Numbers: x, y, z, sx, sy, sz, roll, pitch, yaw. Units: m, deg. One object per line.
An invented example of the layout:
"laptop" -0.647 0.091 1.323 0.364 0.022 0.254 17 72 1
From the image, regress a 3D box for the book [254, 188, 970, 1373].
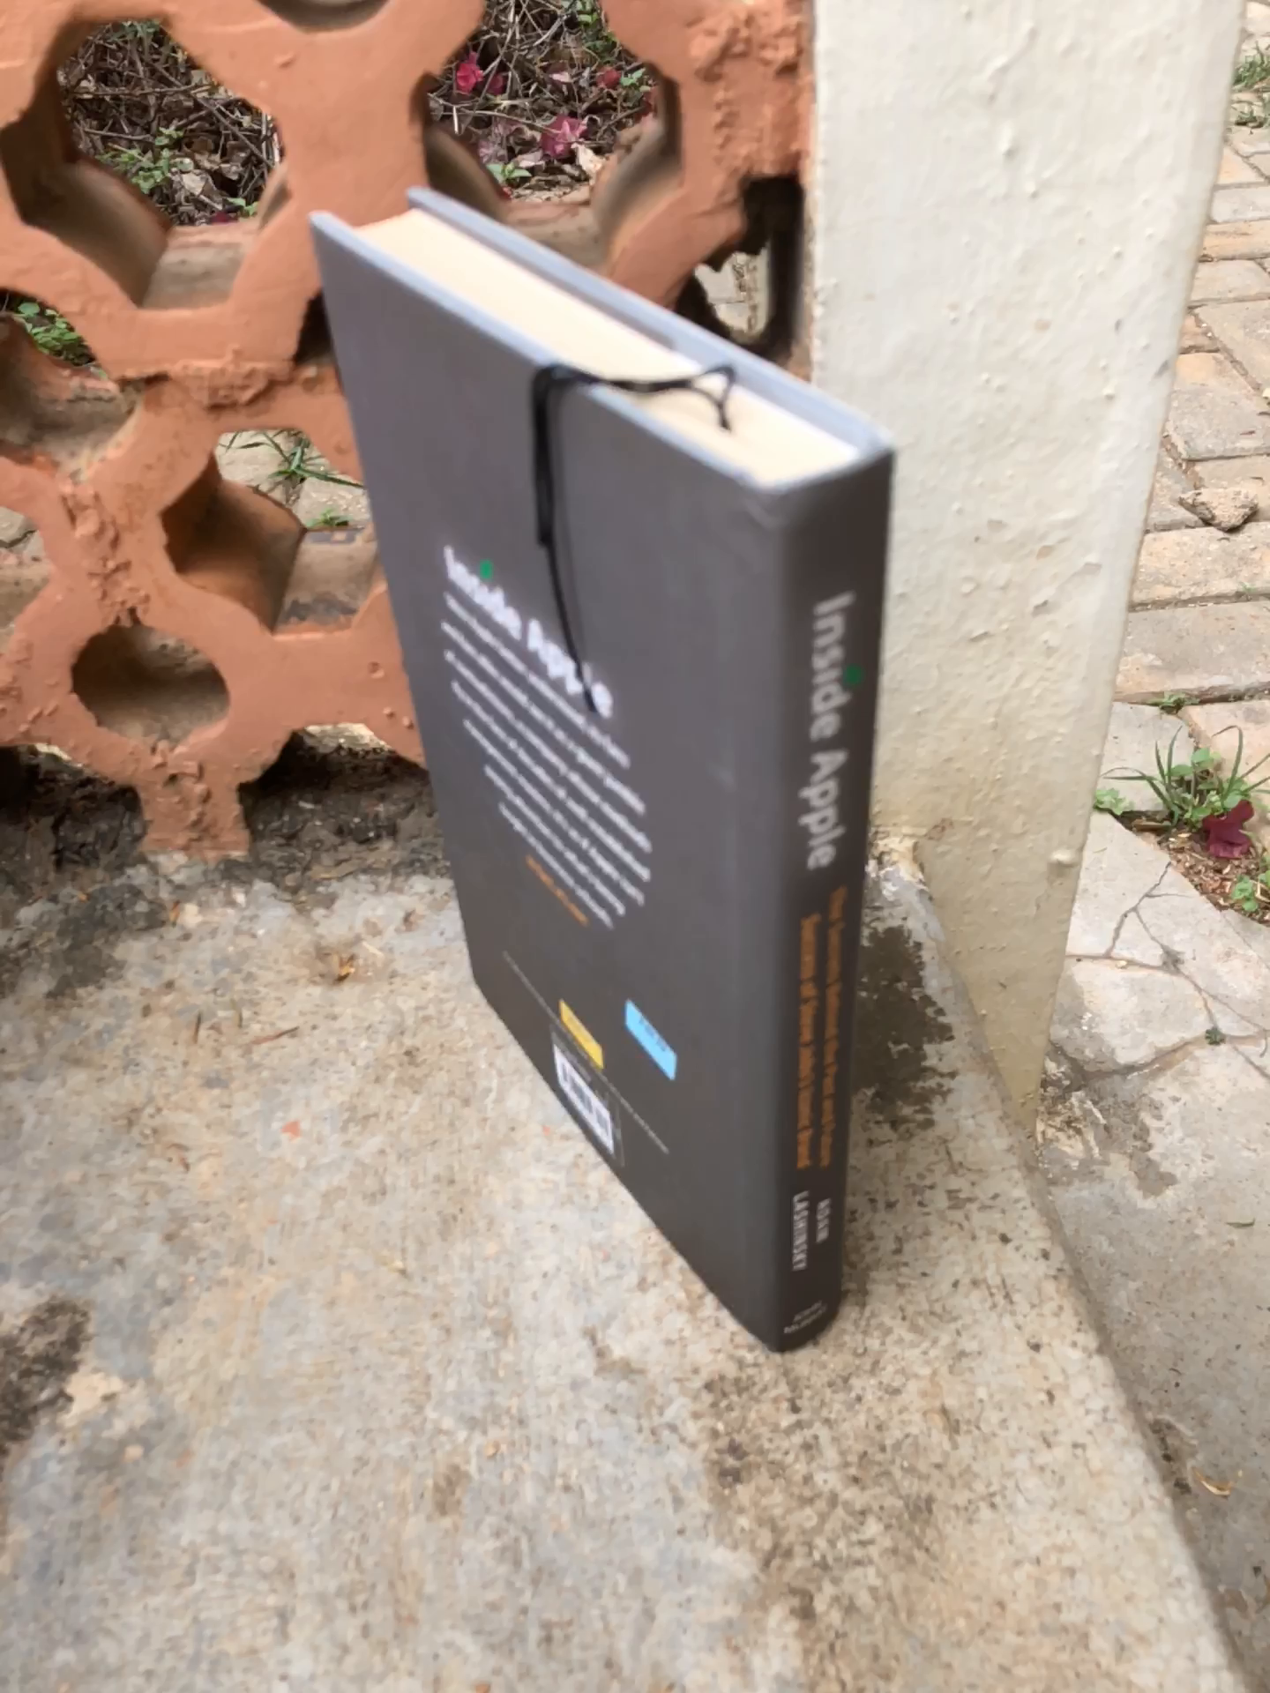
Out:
"book" -0.007 -0.011 0.317 0.040 0.219 0.171 -27 45 -21
